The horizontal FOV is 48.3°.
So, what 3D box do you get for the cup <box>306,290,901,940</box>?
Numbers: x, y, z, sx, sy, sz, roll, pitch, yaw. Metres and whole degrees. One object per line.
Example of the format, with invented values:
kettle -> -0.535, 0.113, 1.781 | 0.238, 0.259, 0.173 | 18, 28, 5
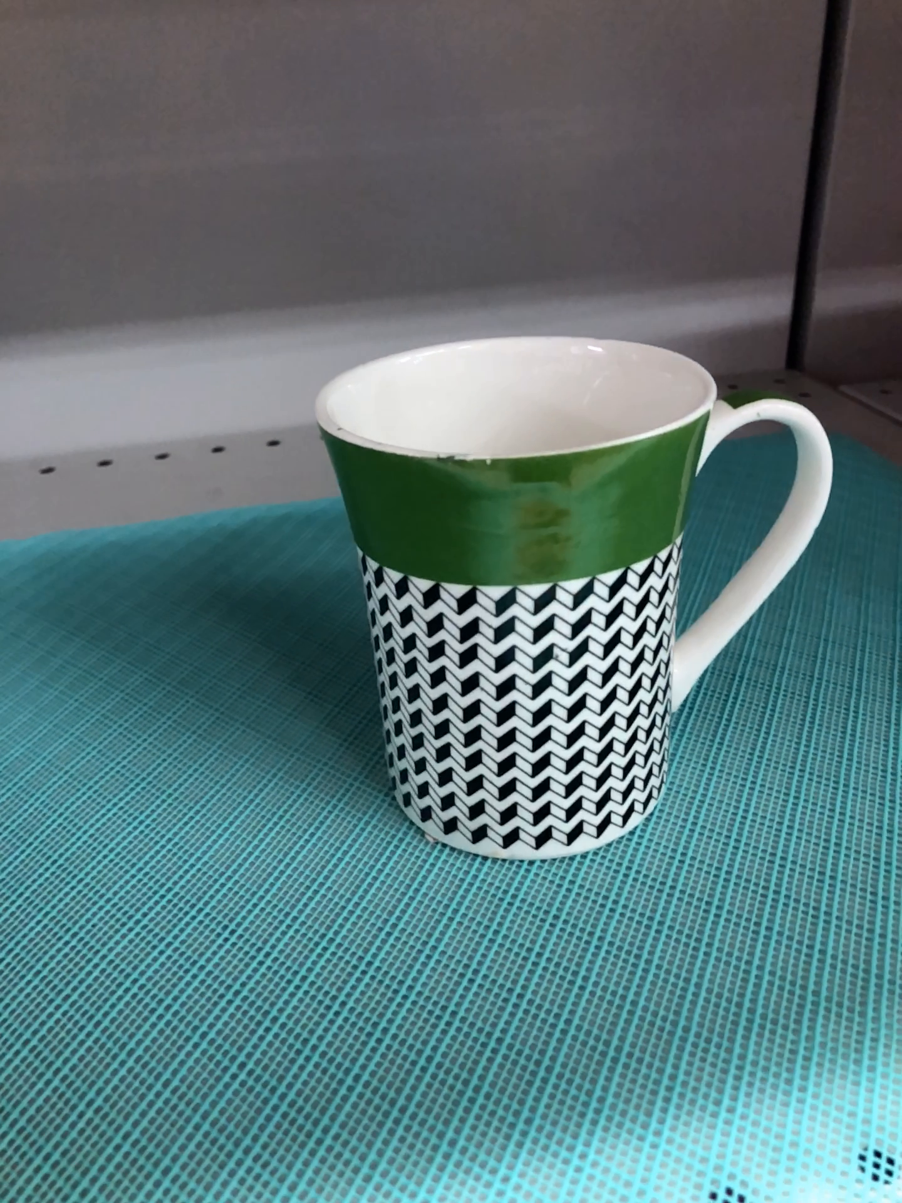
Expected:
cup -> 0.035, -0.005, 0.221 | 0.110, 0.099, 0.080 | -10, 29, -15
